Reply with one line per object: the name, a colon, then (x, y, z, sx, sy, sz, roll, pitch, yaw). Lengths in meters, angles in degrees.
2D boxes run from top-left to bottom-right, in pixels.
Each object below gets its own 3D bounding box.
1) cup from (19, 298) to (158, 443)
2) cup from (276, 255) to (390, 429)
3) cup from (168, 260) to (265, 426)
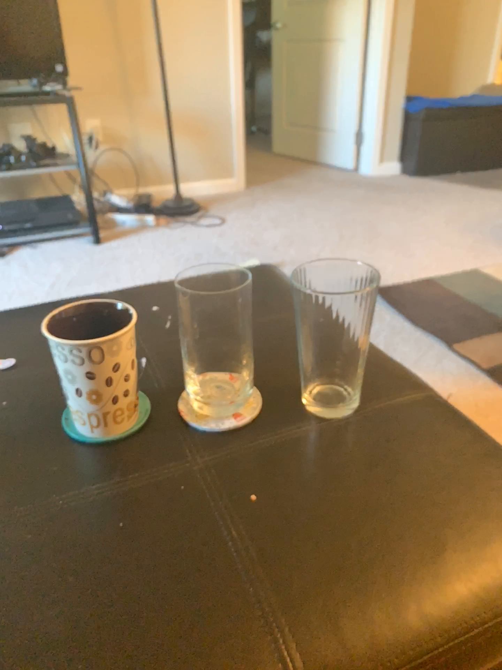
cup: (-0.143, 0.031, 0.490, 0.090, 0.099, 0.091, -1, 29, 1)
cup: (0.074, 0.006, 0.516, 0.080, 0.139, 0.080, -1, 29, 1)
cup: (-0.032, 0.007, 0.500, 0.080, 0.129, 0.080, -1, 29, 1)
